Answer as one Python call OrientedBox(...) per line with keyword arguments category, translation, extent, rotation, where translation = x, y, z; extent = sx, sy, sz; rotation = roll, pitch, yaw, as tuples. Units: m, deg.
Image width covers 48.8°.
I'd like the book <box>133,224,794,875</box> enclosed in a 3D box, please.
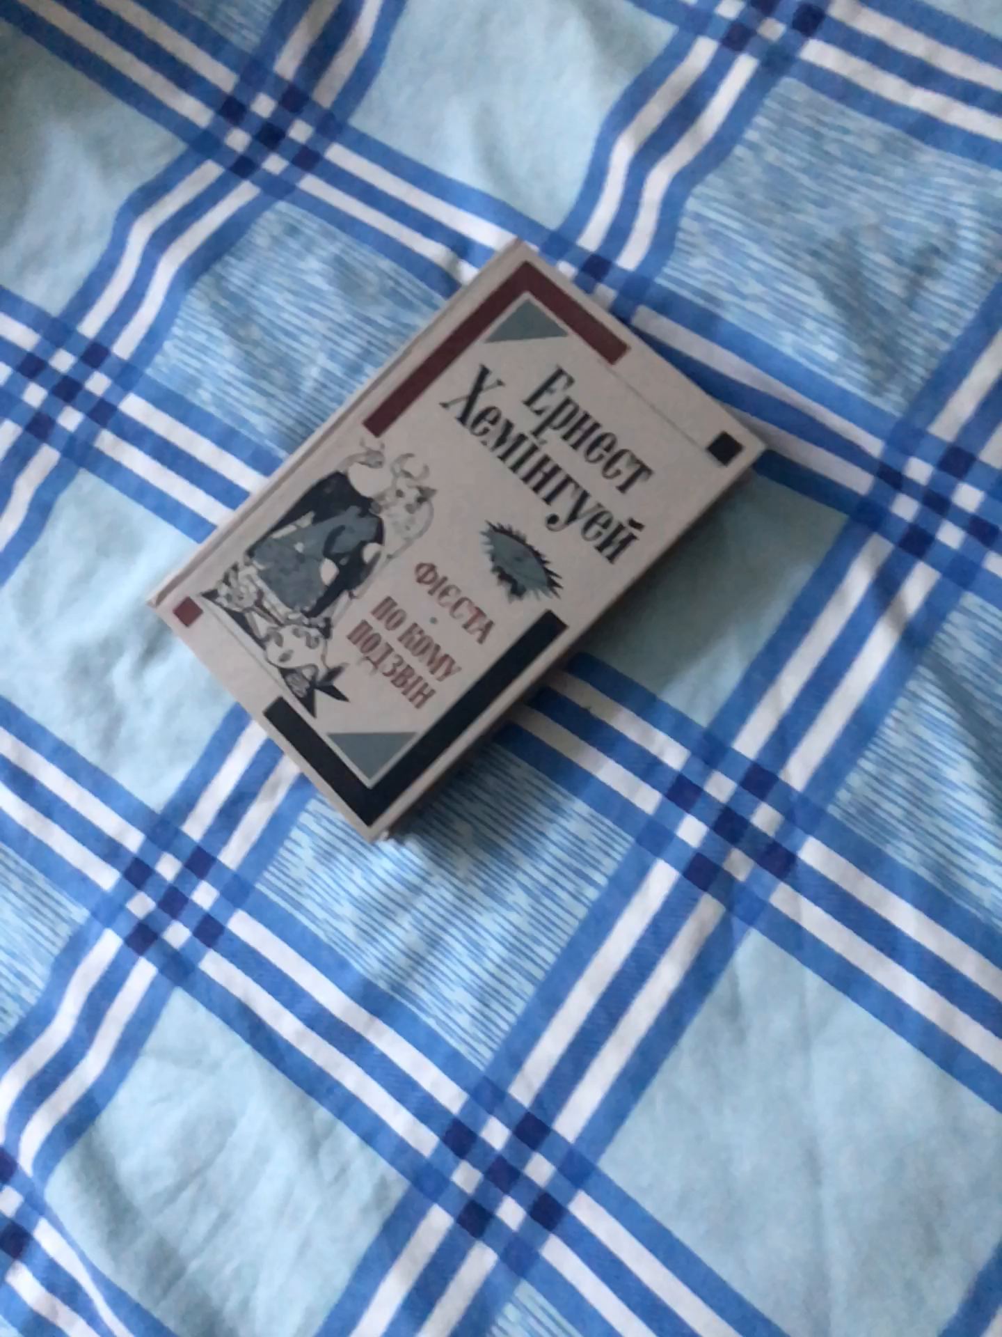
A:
OrientedBox(category="book", translation=(-0.016, -0.048, 0.440), extent=(0.220, 0.040, 0.142), rotation=(-45, 74, -1))
